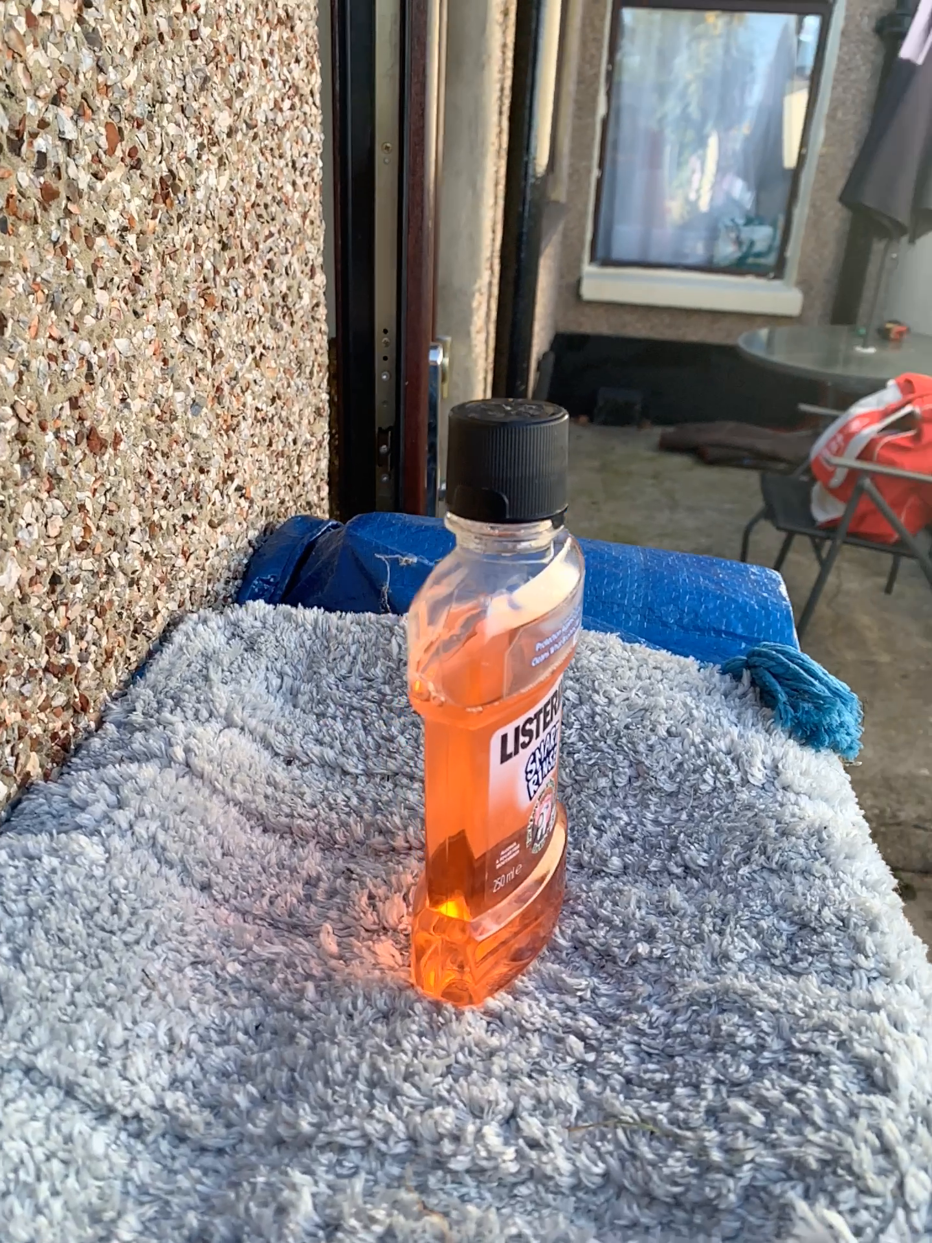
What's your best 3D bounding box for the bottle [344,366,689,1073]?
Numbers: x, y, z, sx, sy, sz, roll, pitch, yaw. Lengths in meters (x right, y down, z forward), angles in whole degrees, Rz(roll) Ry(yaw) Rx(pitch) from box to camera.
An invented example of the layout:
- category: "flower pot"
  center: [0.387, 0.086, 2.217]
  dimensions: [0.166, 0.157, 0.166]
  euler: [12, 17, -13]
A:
- category: "bottle"
  center: [0.013, 0.022, 0.260]
  dimensions: [0.050, 0.159, 0.091]
  euler: [14, 28, 21]
